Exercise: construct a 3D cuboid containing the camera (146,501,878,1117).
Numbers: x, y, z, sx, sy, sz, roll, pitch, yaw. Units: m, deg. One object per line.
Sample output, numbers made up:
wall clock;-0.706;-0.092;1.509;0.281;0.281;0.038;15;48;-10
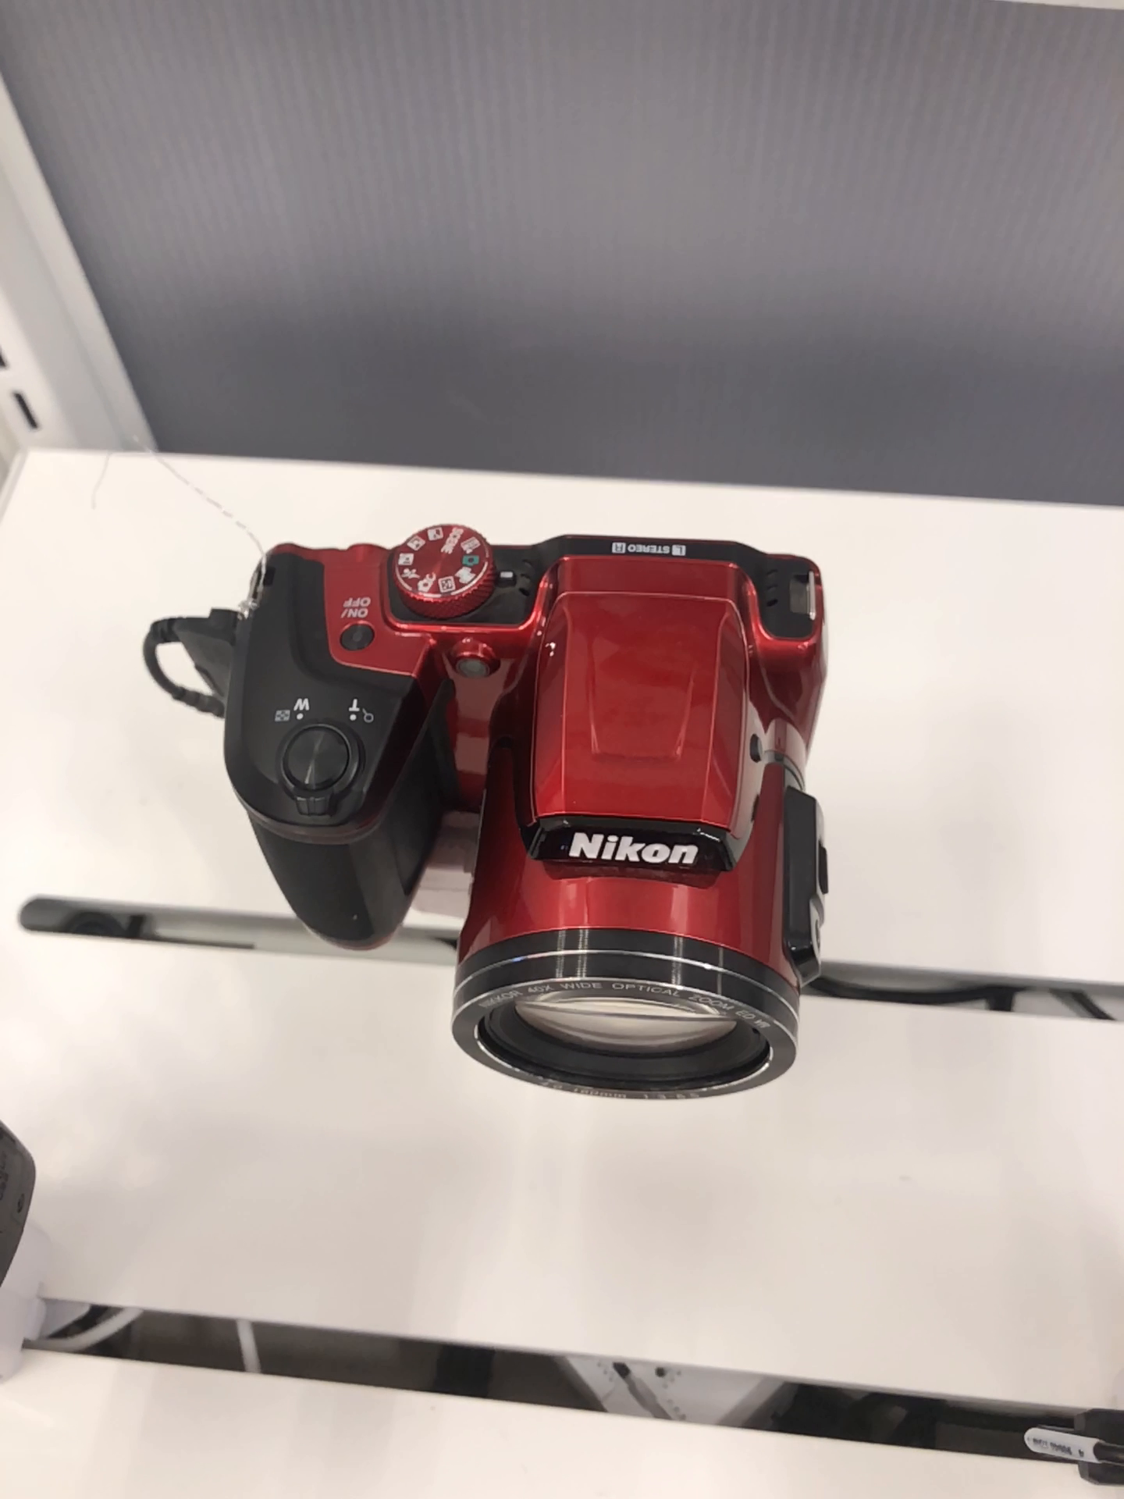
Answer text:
camera;-0.004;0.013;0.241;0.110;0.074;0.084;4;59;4
